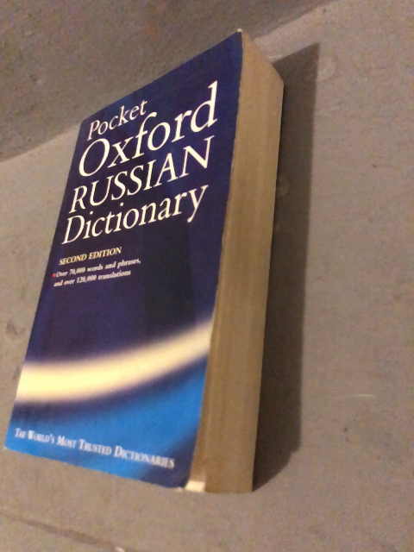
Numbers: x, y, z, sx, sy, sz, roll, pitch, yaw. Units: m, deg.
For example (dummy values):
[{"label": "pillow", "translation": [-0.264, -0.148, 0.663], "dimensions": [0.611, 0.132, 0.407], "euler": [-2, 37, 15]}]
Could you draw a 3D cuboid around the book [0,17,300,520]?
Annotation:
[{"label": "book", "translation": [-0.030, -0.007, 0.221], "dimensions": [0.138, 0.032, 0.195], "euler": [-8, 66, 40]}]
